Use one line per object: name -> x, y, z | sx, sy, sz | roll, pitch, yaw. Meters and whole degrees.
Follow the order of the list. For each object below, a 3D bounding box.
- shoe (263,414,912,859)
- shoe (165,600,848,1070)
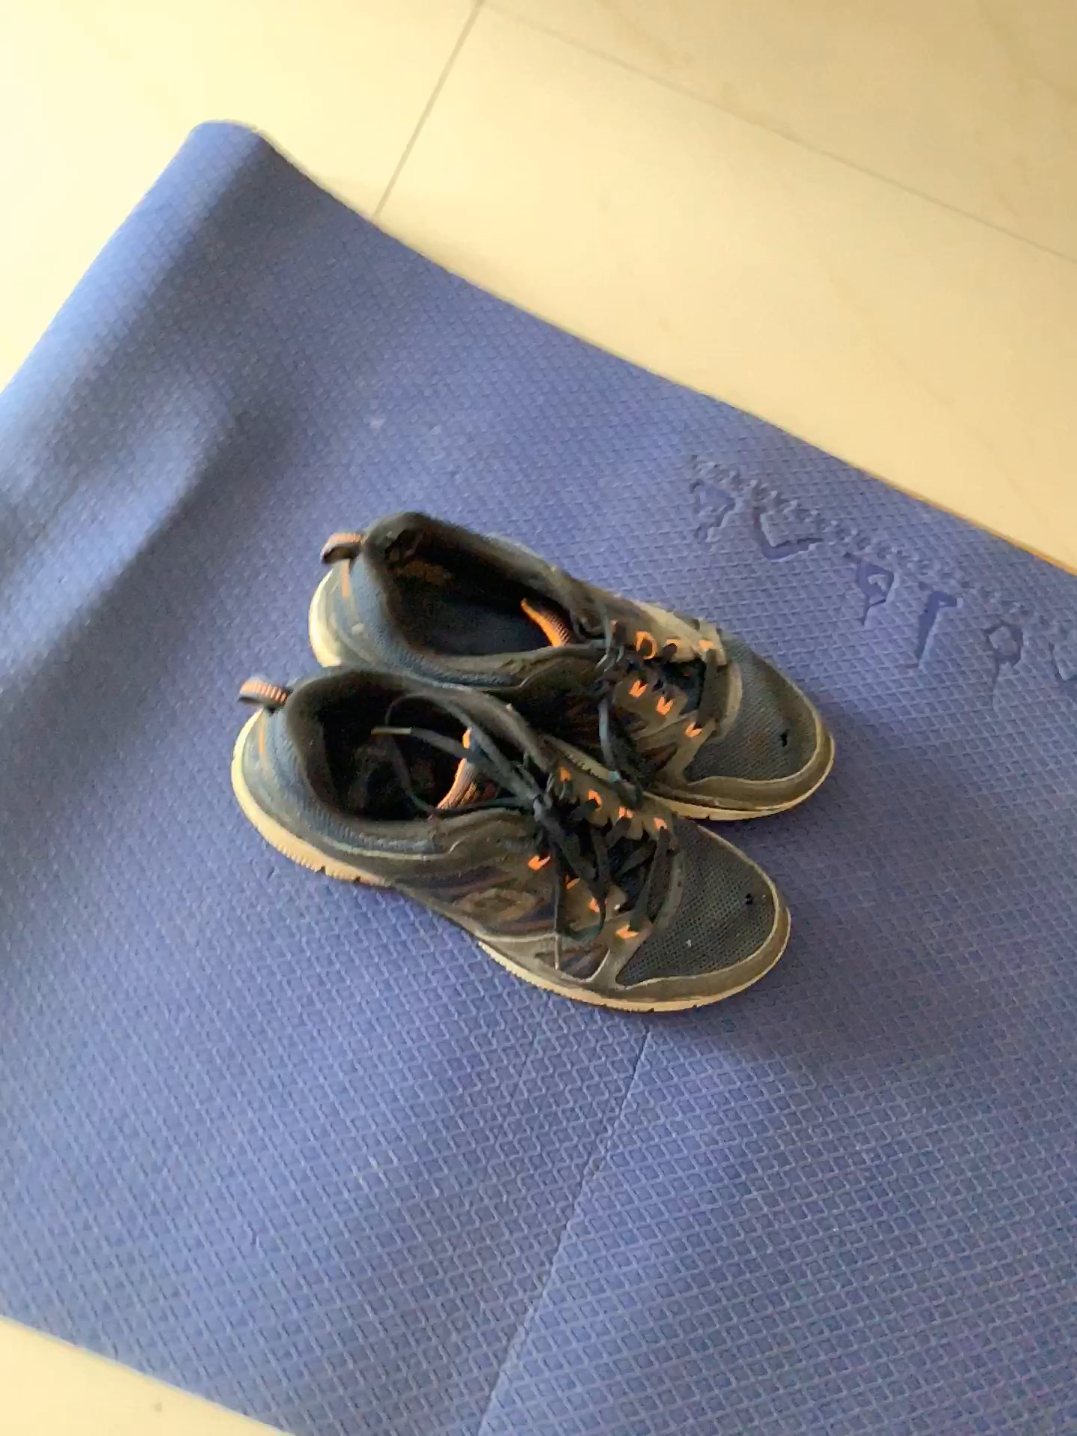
shoe -> 0.024, -0.034, 0.590 | 0.310, 0.100, 0.110 | 20, 70, -6
shoe -> -0.017, 0.068, 0.574 | 0.320, 0.100, 0.100 | 24, 63, -4
